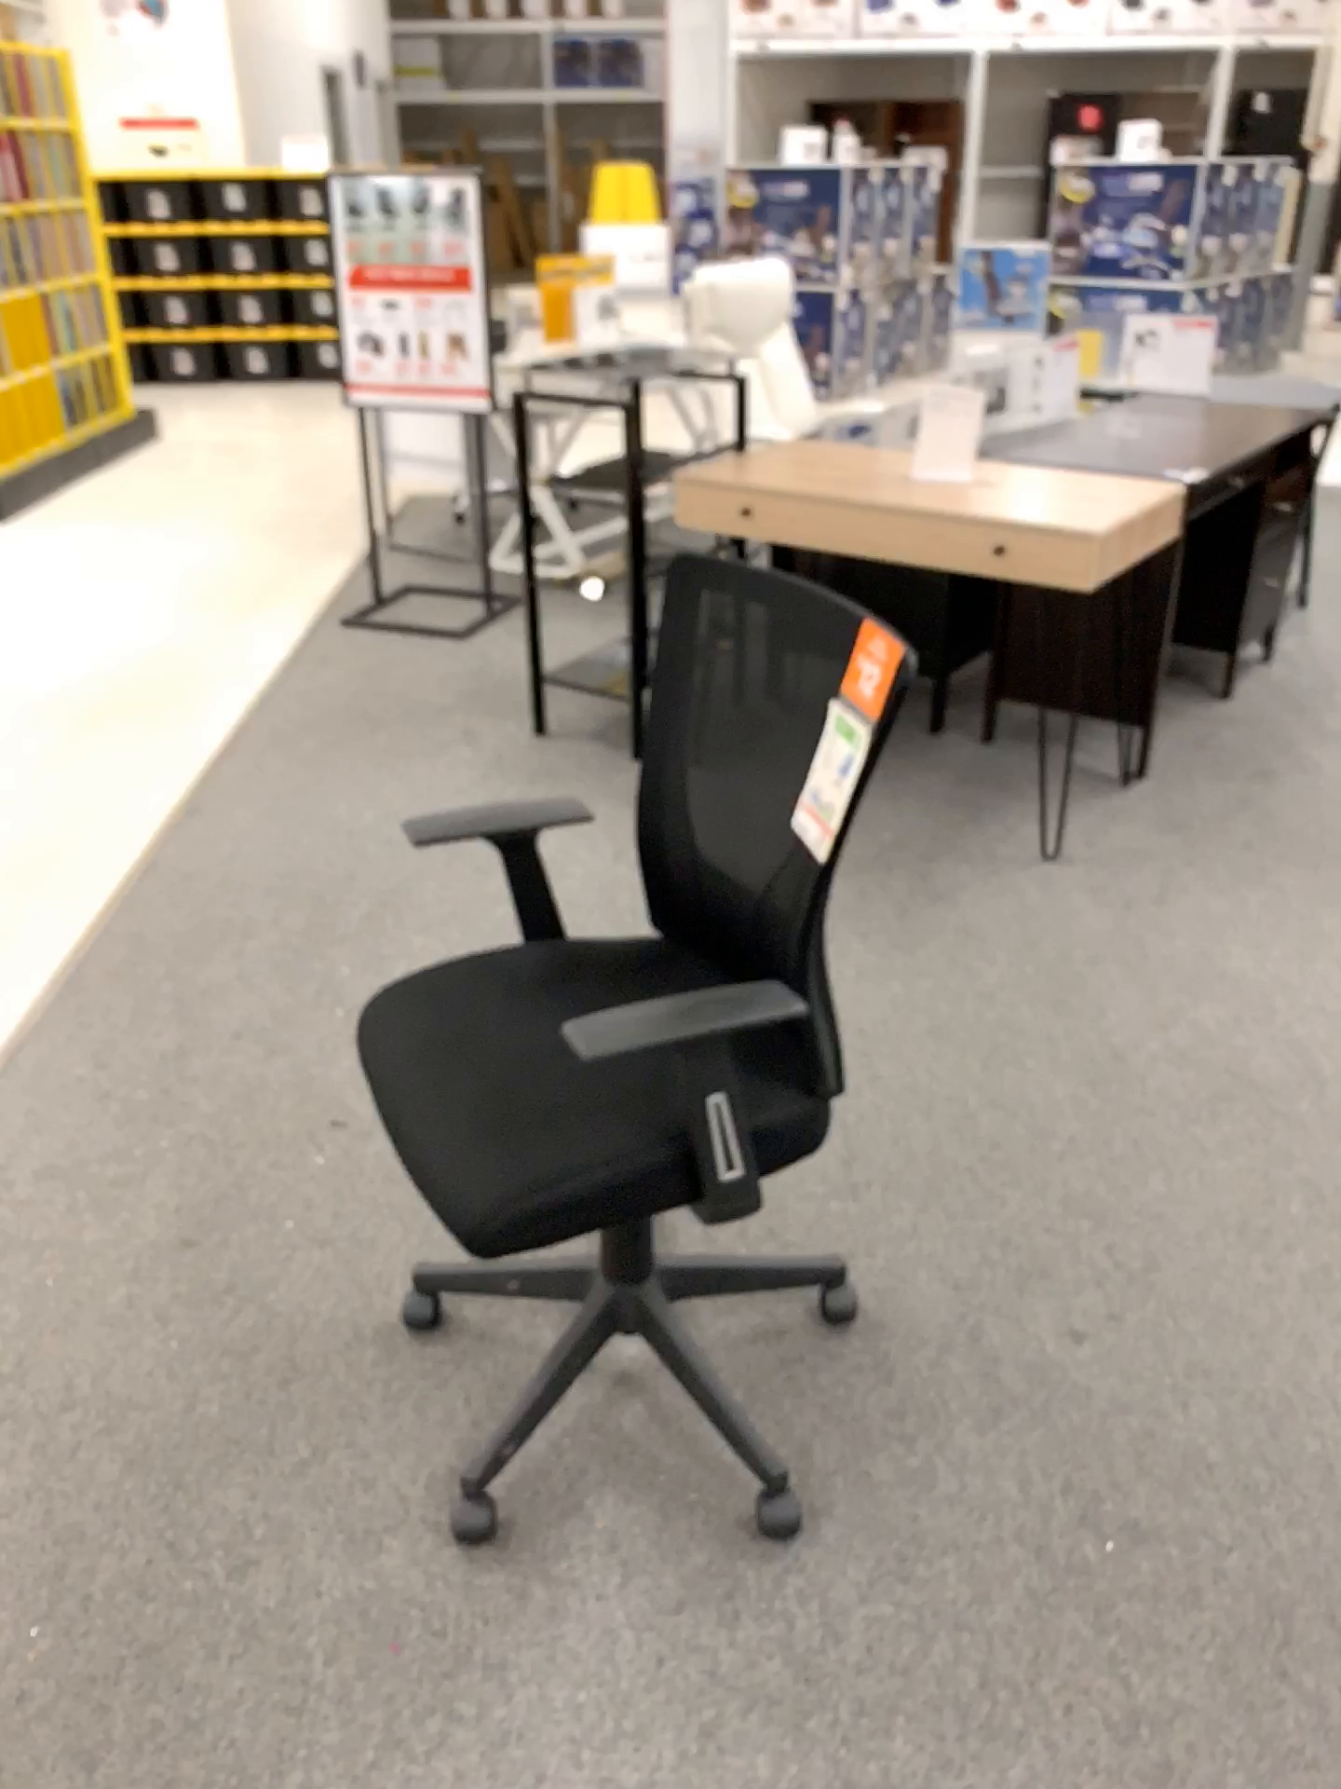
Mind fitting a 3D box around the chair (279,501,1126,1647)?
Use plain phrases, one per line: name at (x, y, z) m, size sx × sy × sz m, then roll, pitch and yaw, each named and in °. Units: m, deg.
chair at (-0.019, 0.147, 1.608) m, size 0.640 × 0.995 × 0.673 m, roll -10°, pitch 29°, yaw -17°
